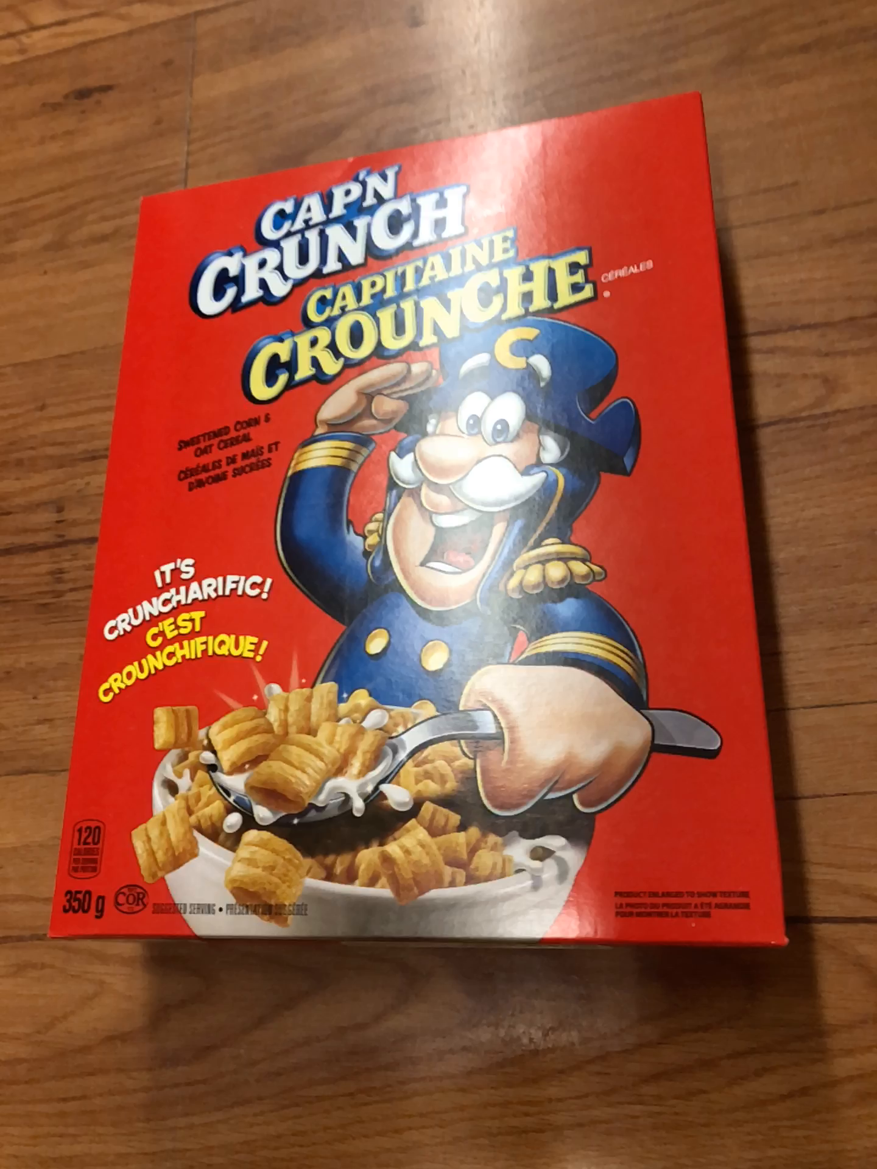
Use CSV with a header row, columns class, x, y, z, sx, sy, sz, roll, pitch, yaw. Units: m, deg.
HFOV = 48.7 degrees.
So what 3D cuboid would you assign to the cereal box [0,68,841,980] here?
class,x,y,z,sx,sy,sz,roll,pitch,yaw
cereal box,-0.009,-0.018,0.311,0.220,0.060,0.260,-5,71,14
